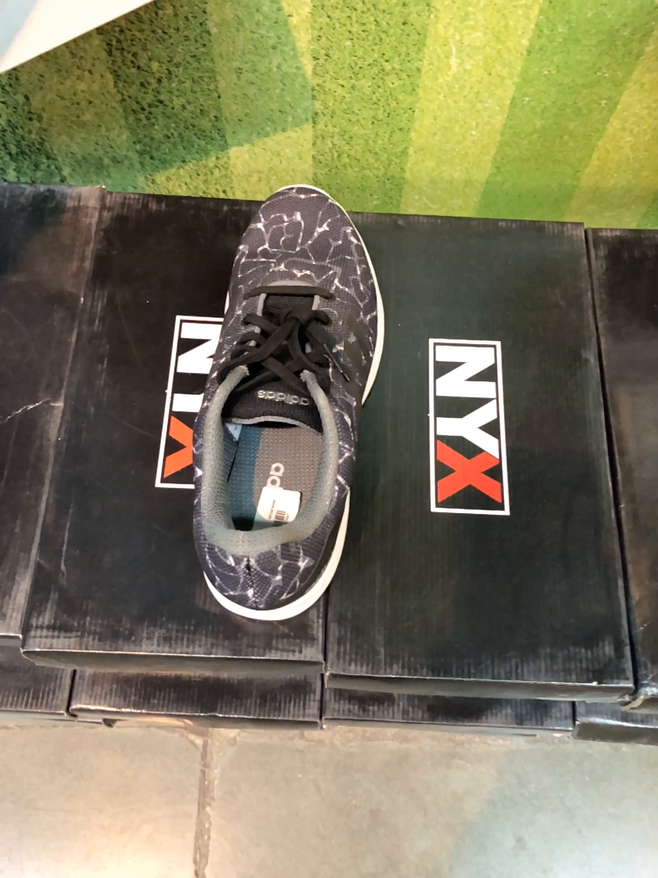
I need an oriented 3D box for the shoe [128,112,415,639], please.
[{"bbox_3d":[-0.019,-0.034,0.410,0.108,0.122,0.262,5,68,1],"label":"shoe"}]
